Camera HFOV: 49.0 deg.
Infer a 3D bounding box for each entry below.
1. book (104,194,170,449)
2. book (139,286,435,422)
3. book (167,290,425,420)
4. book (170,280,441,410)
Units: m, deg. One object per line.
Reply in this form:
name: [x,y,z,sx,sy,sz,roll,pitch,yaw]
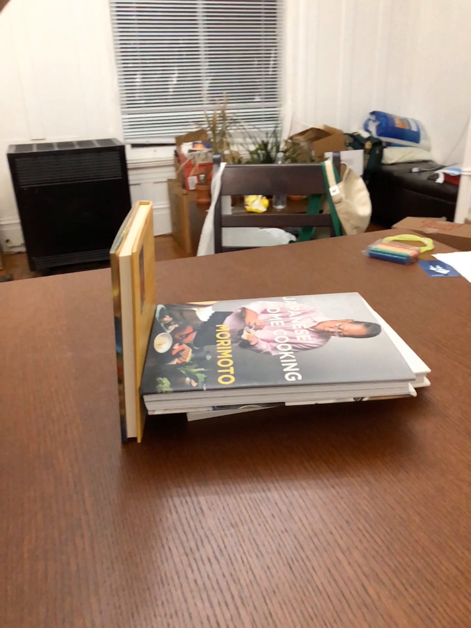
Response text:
book: [-0.101,-0.004,0.573,0.030,0.209,0.211,-1,25,-2]
book: [0.043,0.033,0.591,0.280,0.030,0.221,-5,24,-3]
book: [0.061,0.039,0.680,0.280,0.030,0.221,-8,25,-10]
book: [0.066,0.024,0.645,0.280,0.030,0.221,-7,25,-8]
